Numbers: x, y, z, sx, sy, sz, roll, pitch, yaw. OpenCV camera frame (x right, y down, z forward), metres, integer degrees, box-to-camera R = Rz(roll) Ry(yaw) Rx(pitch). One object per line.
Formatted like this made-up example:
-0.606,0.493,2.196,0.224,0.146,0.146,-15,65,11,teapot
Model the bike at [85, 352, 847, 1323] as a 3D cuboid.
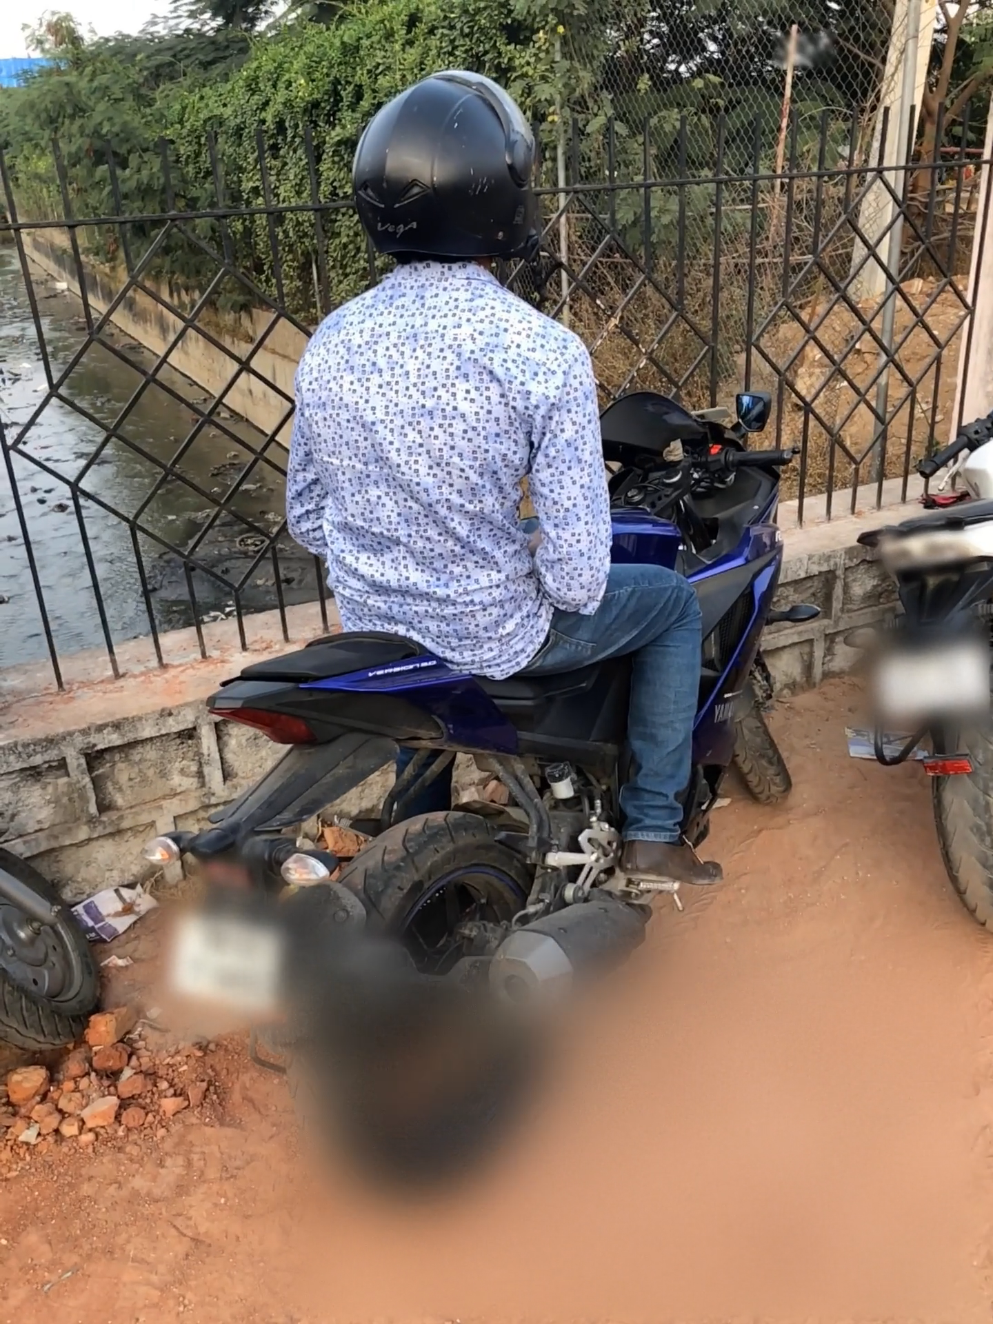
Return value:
0.190,0.076,2.275,0.731,0.994,1.955,8,28,22,bike
